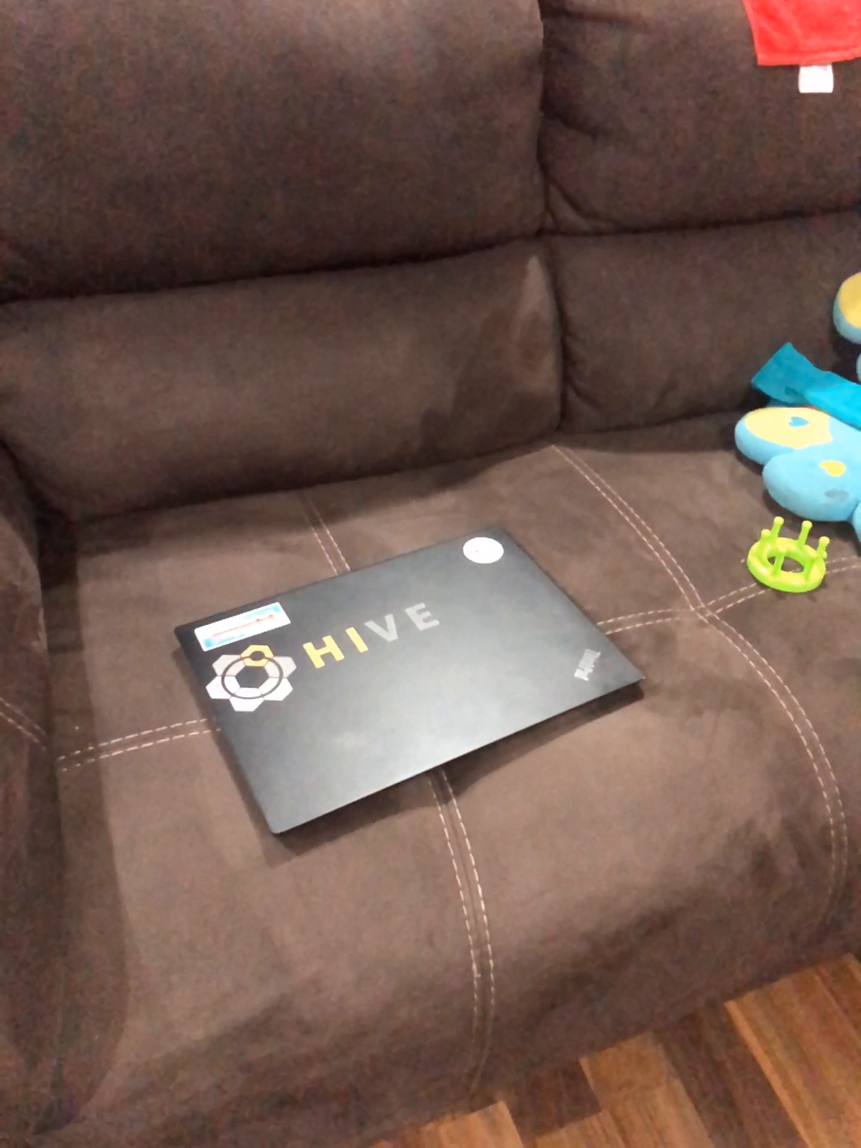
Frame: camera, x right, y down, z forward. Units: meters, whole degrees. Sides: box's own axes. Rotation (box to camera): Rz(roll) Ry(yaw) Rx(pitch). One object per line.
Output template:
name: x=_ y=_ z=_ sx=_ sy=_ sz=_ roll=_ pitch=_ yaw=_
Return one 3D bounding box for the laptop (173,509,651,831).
laptop: x=-0.022 y=0.059 z=0.798 sx=0.329 sy=0.019 sz=0.236 roll=-19 pitch=44 yaw=-21
